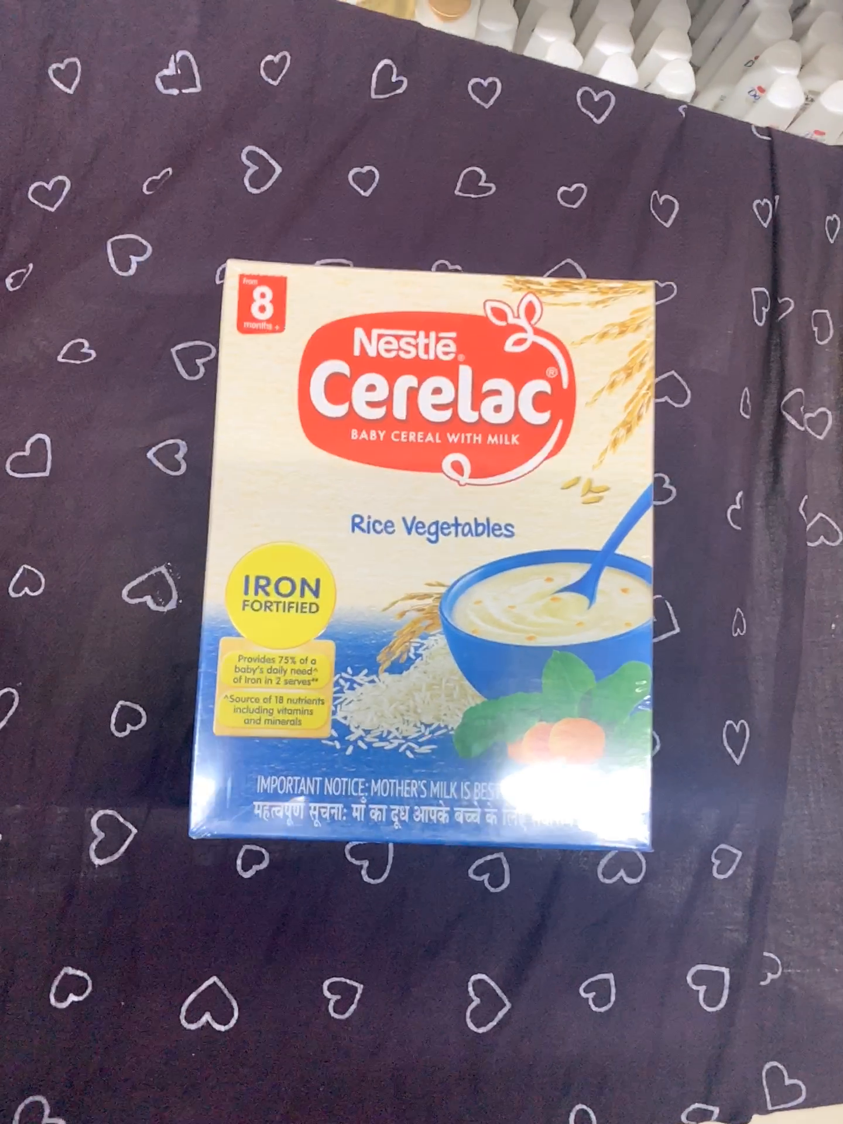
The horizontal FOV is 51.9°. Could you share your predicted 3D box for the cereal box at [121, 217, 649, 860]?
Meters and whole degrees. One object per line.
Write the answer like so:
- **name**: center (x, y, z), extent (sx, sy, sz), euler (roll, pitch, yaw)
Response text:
- **cereal box**: center (-0.007, -0.008, 0.288), extent (0.150, 0.050, 0.190), euler (3, 81, -2)
